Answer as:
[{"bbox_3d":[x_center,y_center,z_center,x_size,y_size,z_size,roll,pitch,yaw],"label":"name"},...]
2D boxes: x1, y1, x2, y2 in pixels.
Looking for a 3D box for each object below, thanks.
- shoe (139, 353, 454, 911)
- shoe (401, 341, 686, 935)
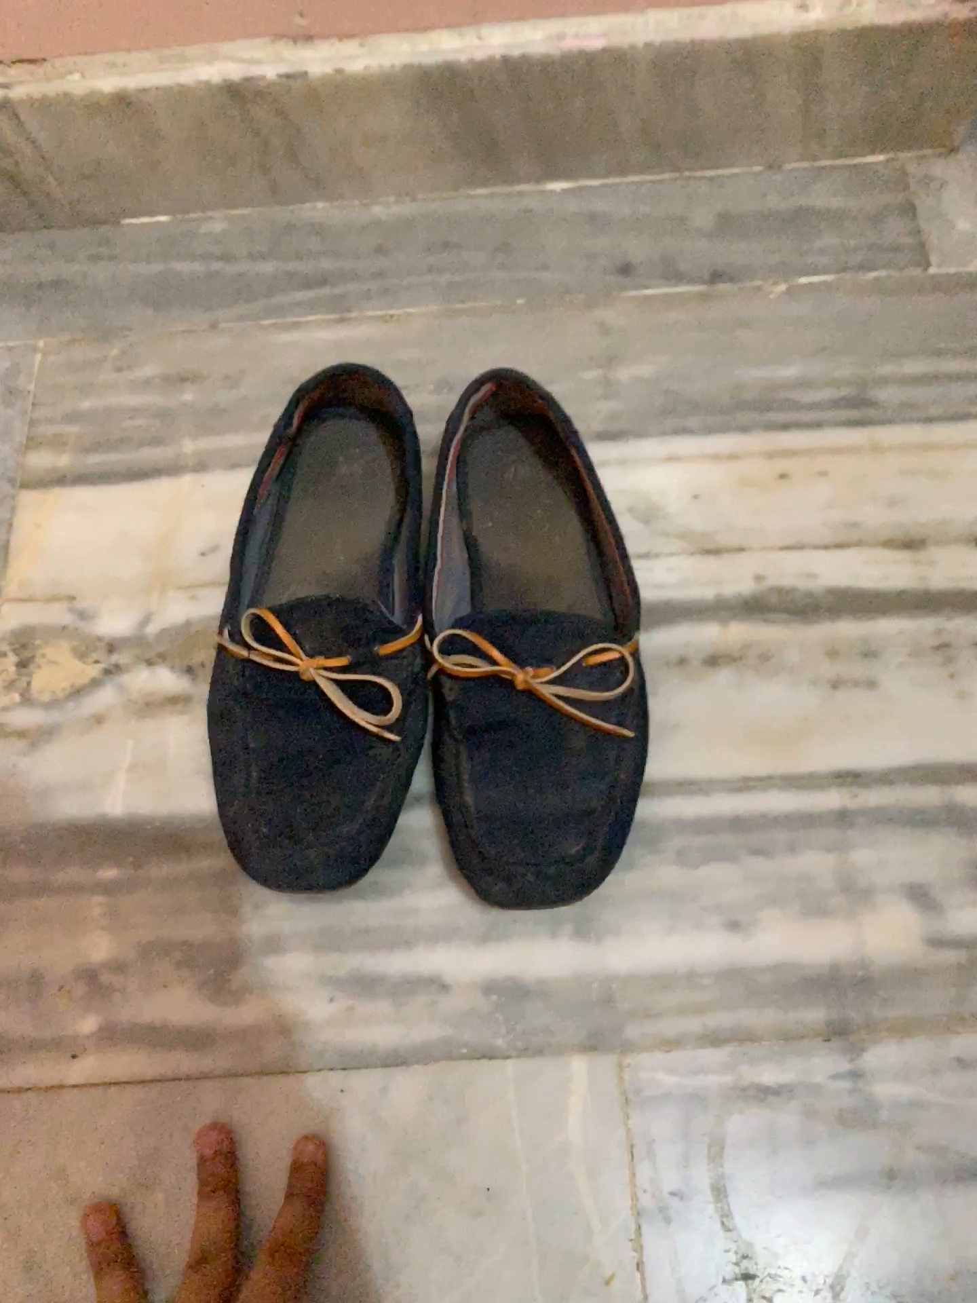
[{"bbox_3d":[-0.085,-0.017,0.514,0.120,0.070,0.280,0,66,3],"label":"shoe"},{"bbox_3d":[0.020,-0.015,0.520,0.120,0.070,0.300,-3,66,1],"label":"shoe"}]
